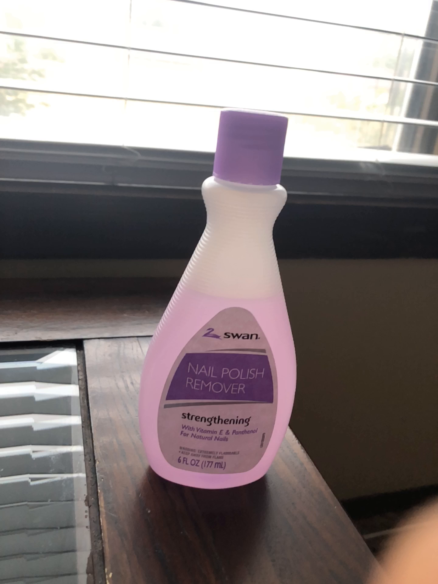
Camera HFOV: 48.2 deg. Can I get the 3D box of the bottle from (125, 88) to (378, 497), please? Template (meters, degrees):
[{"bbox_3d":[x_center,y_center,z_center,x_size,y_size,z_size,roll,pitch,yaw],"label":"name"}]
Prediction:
[{"bbox_3d":[0.004,0.006,0.216,0.080,0.170,0.050,3,22,-7],"label":"bottle"}]
